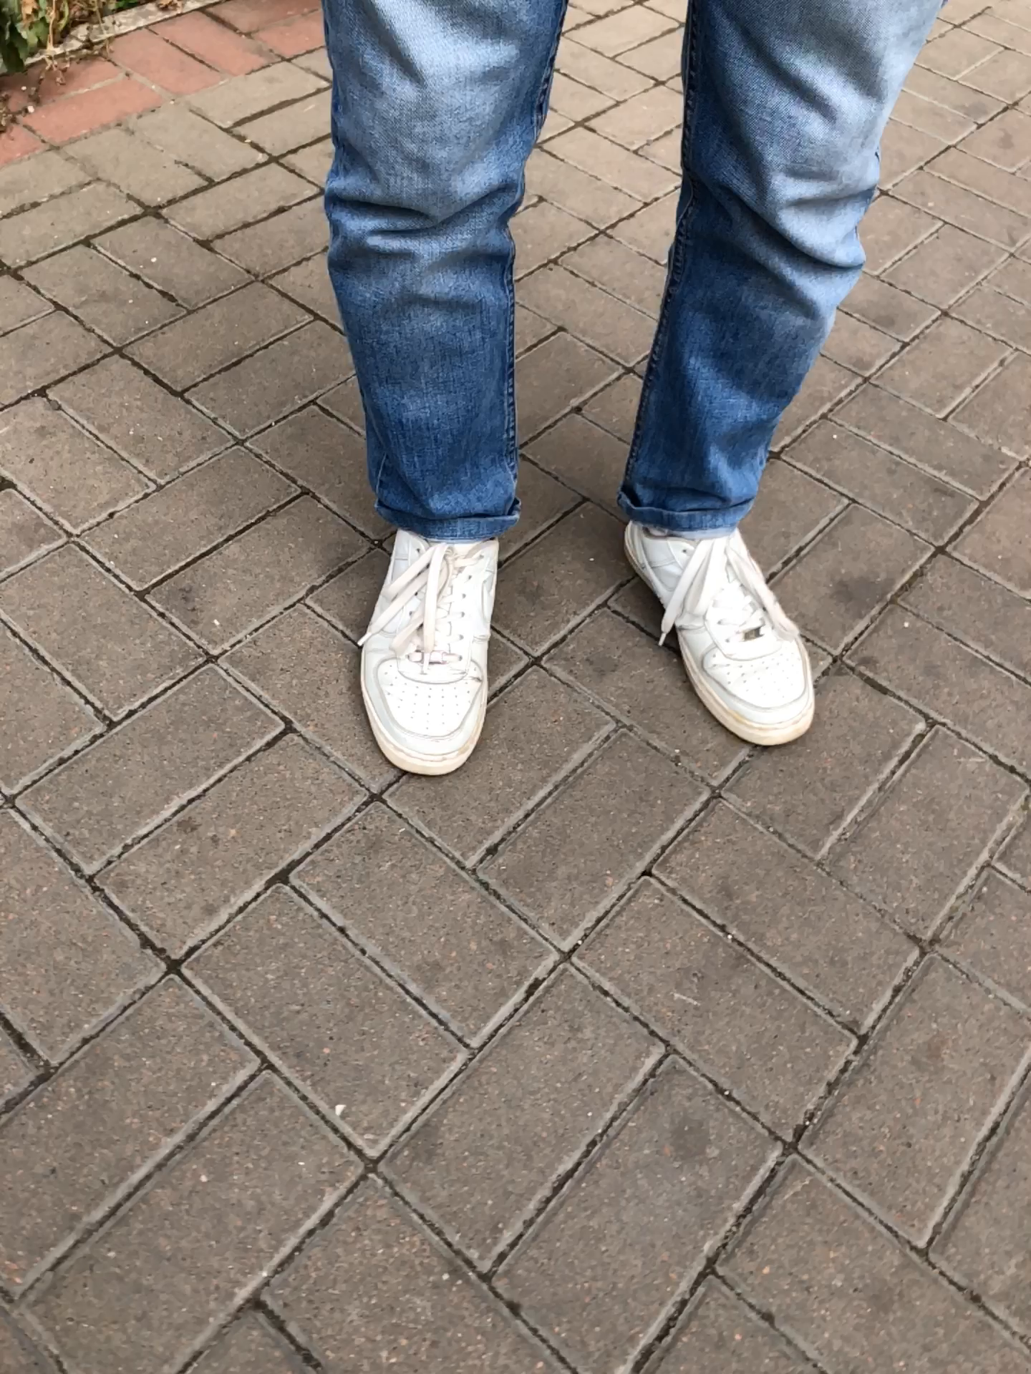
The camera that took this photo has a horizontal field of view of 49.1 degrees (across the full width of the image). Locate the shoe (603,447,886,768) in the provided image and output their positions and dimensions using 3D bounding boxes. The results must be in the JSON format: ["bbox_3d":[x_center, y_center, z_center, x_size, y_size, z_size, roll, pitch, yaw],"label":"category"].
[{"bbox_3d":[0.192,-0.081,1.008,0.110,0.070,0.301,-15,55,-15],"label":"shoe"}]

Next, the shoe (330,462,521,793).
[{"bbox_3d":[-0.069,-0.061,0.970,0.120,0.070,0.302,6,52,1],"label":"shoe"}]
